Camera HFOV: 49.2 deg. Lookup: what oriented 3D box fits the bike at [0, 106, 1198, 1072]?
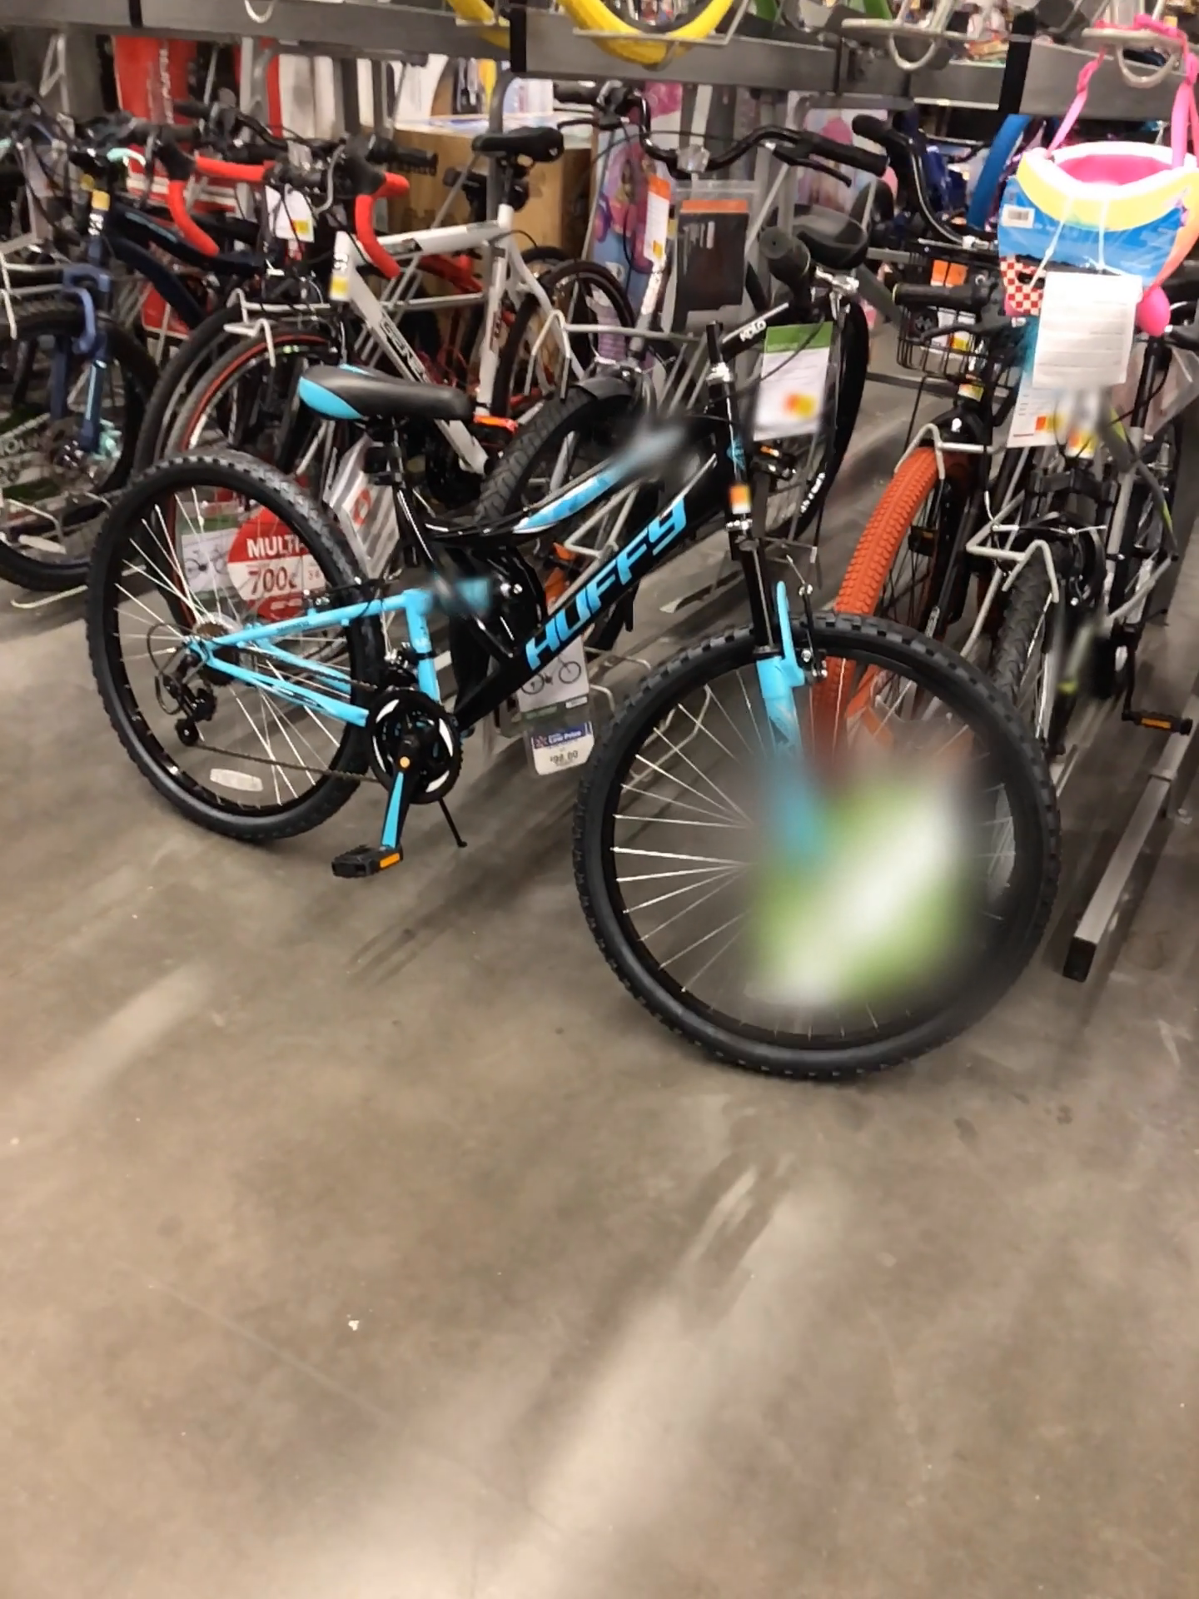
[{"bbox_3d":[-0.028,-0.408,2.058,1.706,1.120,0.546,16,34,21],"label":"bike"}]
